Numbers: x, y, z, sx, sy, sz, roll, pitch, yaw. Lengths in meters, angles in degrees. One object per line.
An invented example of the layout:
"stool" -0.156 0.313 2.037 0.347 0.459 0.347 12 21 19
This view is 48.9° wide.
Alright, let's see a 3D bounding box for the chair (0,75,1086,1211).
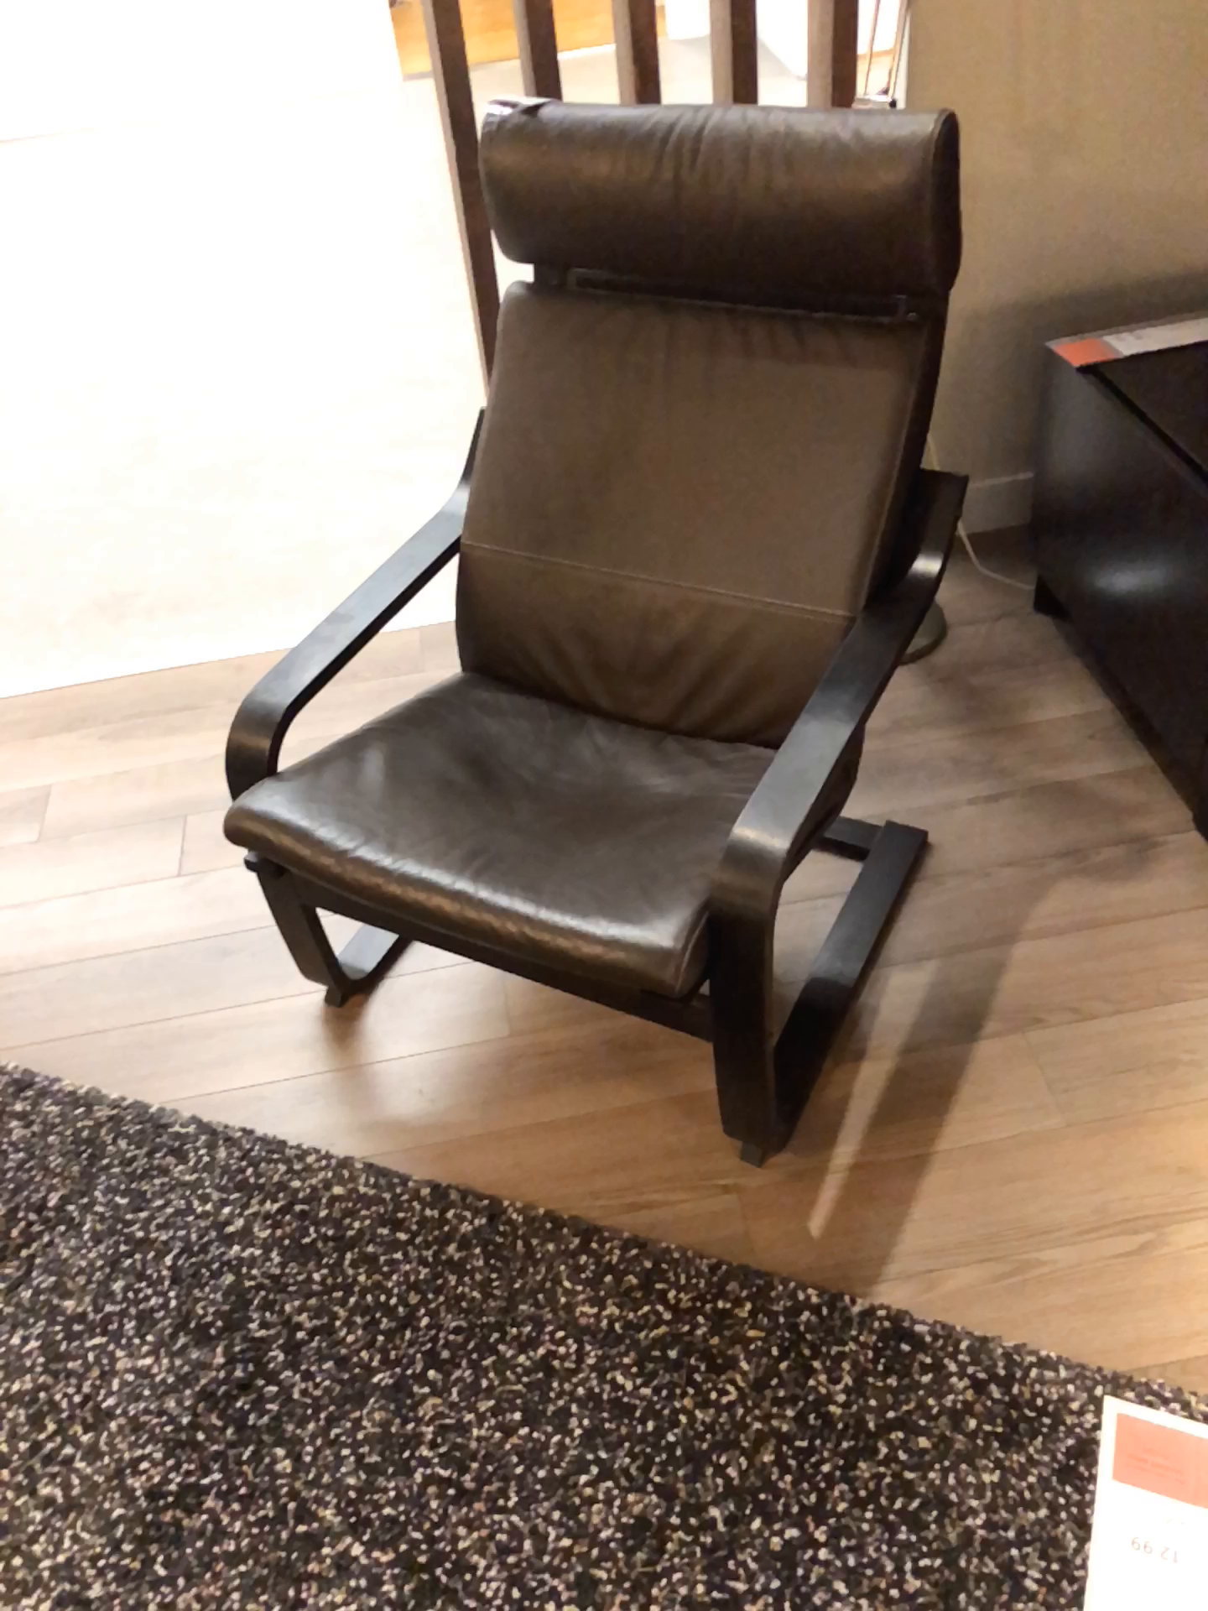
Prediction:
"chair" -0.002 -0.221 1.485 0.781 0.877 0.732 14 46 23
